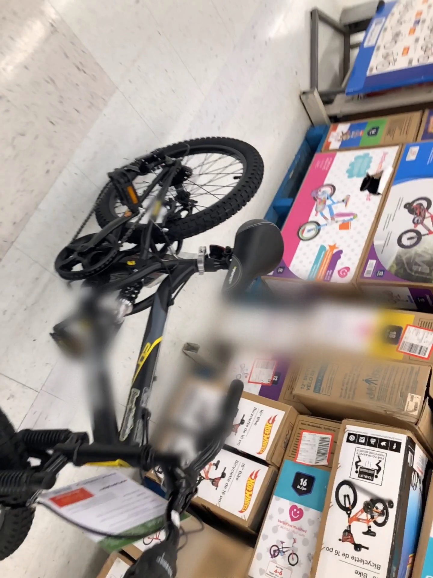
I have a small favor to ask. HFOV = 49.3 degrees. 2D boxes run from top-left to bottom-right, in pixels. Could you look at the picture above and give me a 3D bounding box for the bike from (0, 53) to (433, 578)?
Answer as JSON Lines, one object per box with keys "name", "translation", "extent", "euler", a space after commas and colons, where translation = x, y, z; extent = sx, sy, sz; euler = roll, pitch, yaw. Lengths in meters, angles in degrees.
{"name": "bike", "translation": [-0.021, 0.161, 1.166], "extent": [0.524, 0.849, 1.261], "euler": [53, 52, -41]}
